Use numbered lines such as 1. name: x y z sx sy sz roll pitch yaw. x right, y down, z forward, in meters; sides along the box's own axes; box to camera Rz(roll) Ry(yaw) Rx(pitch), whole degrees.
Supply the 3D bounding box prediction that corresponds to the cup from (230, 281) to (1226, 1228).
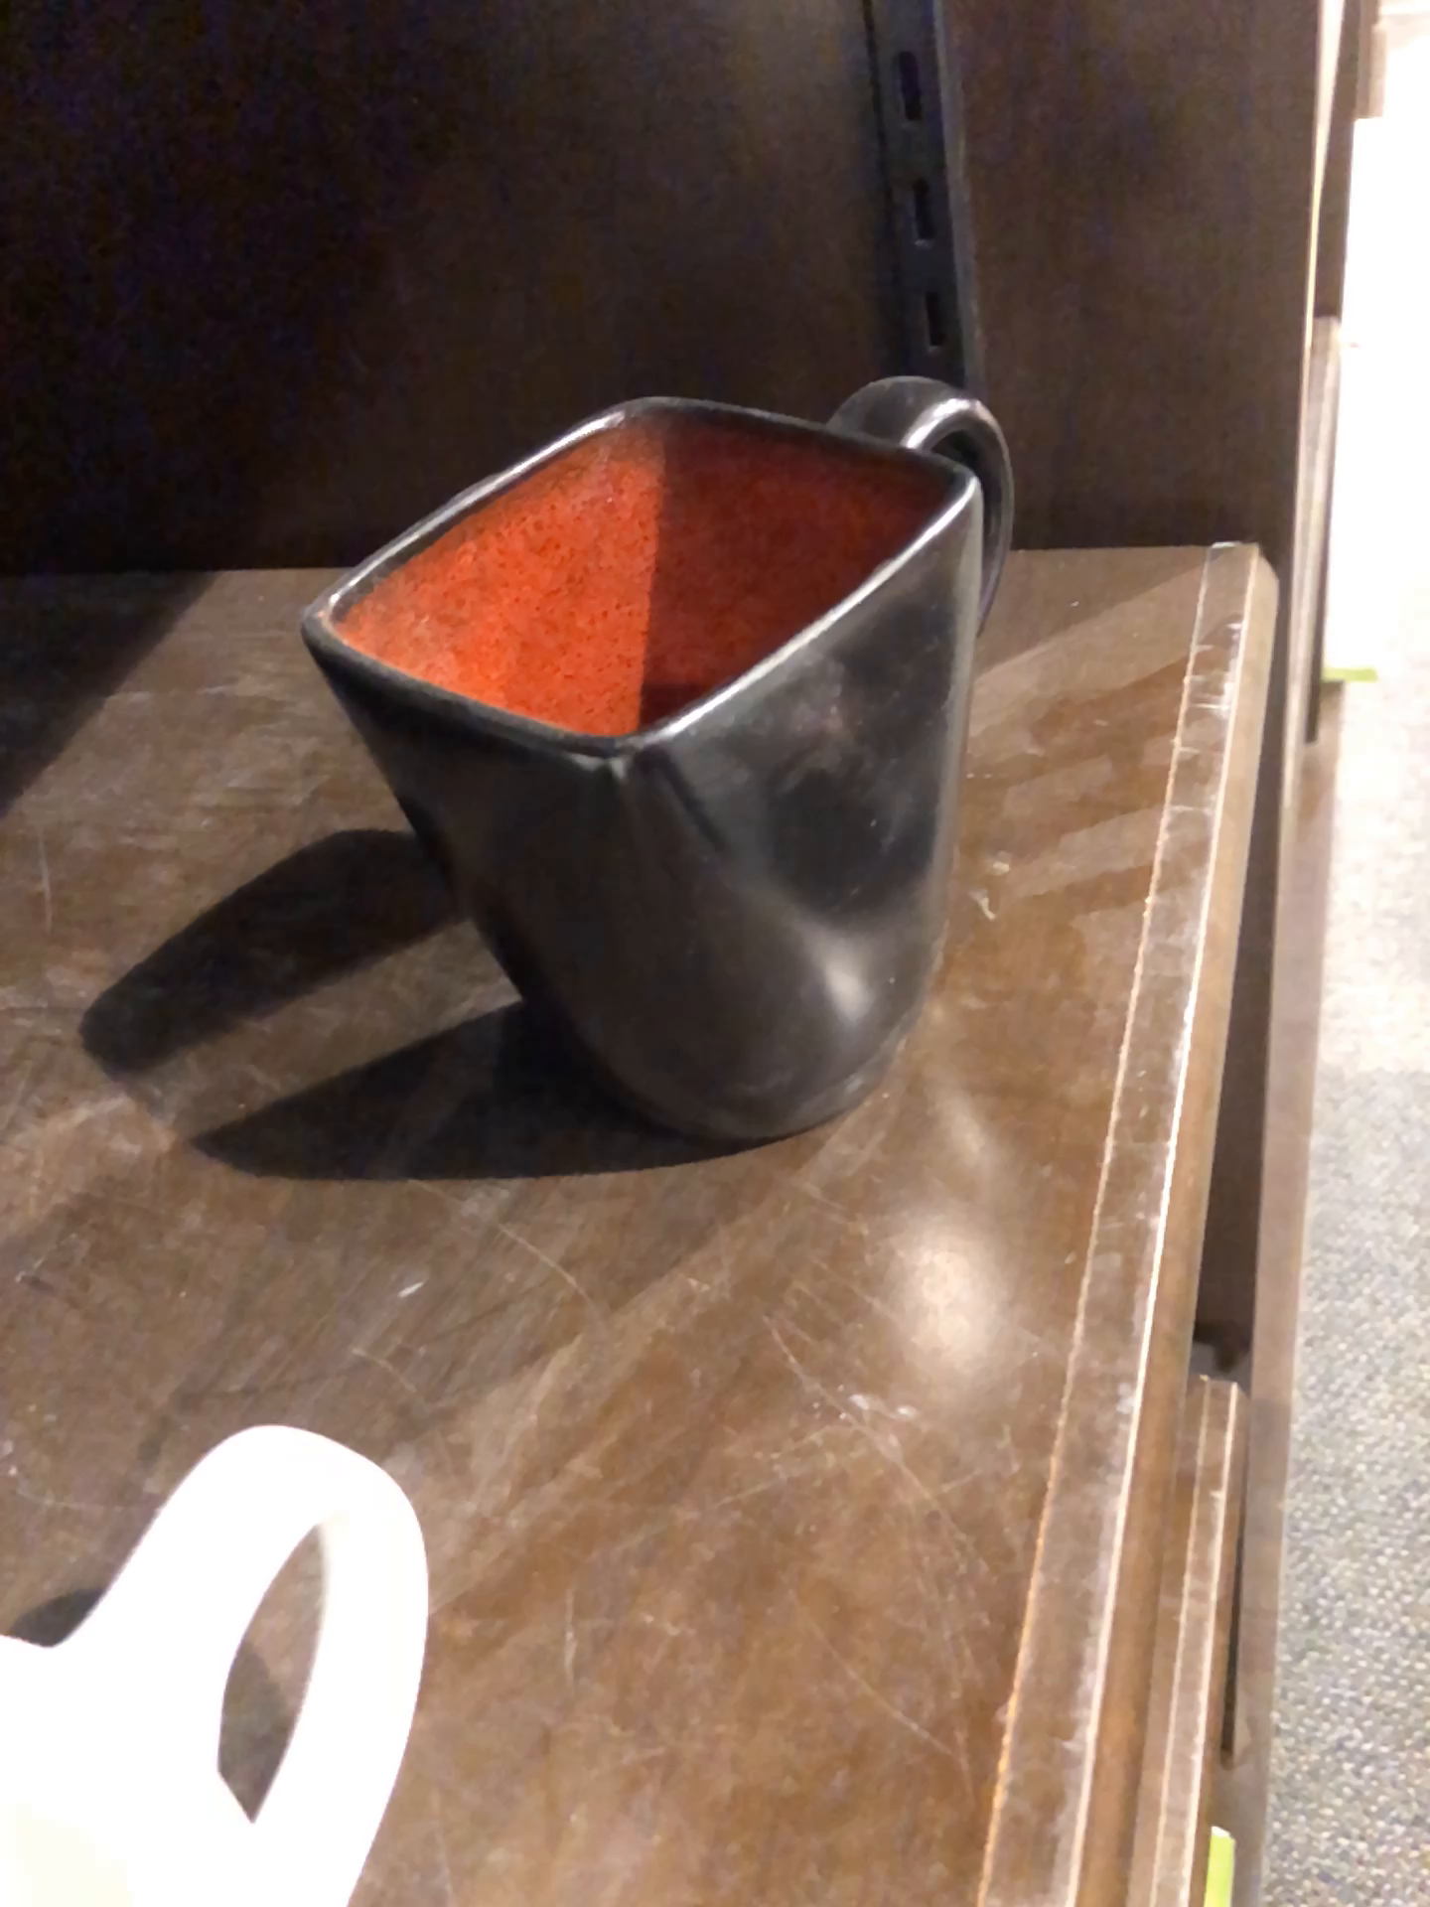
1. cup: 0.010 -0.042 0.268 0.095 0.083 0.123 26 57 38
